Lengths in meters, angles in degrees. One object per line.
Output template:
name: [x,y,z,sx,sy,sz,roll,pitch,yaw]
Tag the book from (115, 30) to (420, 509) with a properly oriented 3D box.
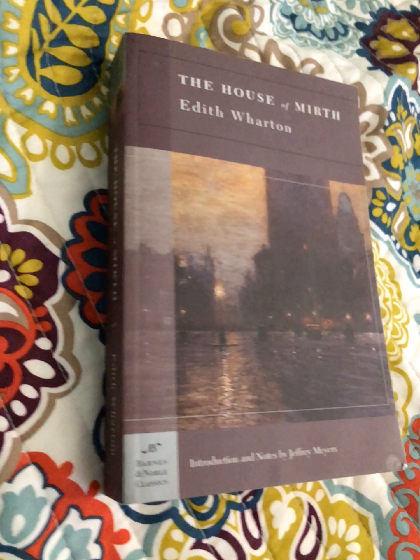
book: [0.029,-0.007,0.231,0.142,0.040,0.195,2,79,-20]
